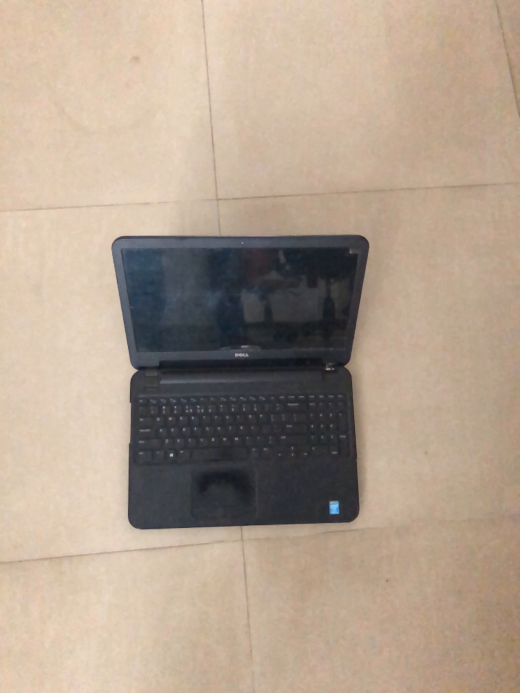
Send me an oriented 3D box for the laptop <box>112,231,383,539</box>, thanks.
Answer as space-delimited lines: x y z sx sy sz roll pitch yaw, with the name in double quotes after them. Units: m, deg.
-0.025 0.057 0.847 0.343 0.179 0.405 -1 78 -2 "laptop"
